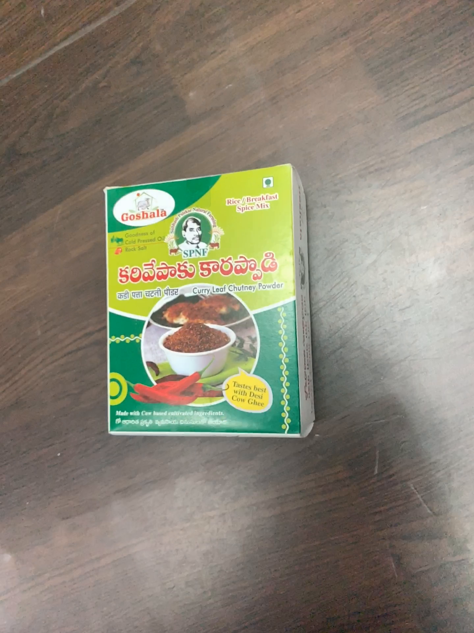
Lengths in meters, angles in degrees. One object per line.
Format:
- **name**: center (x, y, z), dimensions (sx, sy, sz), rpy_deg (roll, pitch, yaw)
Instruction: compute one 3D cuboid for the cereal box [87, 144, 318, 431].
- **cereal box**: center (-0.017, -0.009, 0.238), dimensions (0.100, 0.040, 0.120), rpy_deg (-4, 84, 17)
